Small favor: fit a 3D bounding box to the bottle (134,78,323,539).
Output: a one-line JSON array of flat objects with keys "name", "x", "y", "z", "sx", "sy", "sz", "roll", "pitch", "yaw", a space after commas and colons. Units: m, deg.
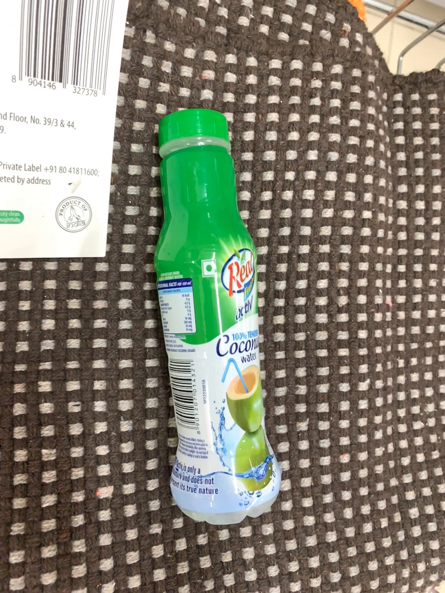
[{"name": "bottle", "x": 0.005, "y": 0.005, "z": 0.200, "sx": 0.060, "sy": 0.040, "sz": 0.170, "roll": -9, "pitch": 101, "yaw": -30}]
